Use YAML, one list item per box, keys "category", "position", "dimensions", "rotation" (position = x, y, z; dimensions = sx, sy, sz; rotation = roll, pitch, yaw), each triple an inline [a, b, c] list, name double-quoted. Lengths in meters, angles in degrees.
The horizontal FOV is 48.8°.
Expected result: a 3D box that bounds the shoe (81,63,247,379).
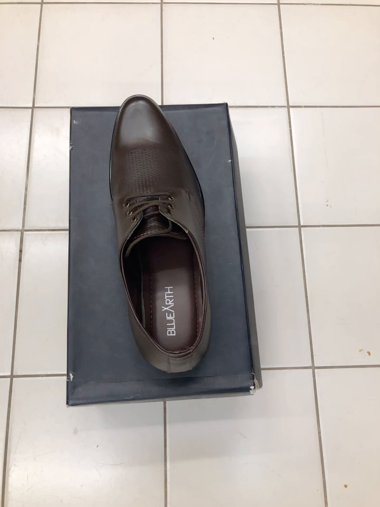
- category: "shoe"
  position: [-0.031, -0.031, 0.435]
  dimensions: [0.104, 0.109, 0.290]
  rotation: [-10, 76, -5]
